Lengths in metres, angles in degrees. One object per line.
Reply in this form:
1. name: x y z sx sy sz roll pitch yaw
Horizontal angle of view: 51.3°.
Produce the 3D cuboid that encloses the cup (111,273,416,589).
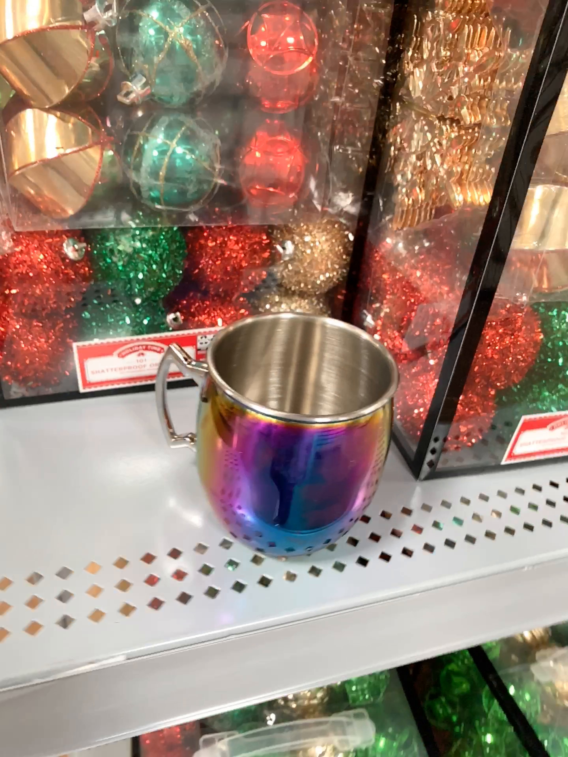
1. cup: -0.007 0.020 0.278 0.110 0.090 0.088 14 35 9
